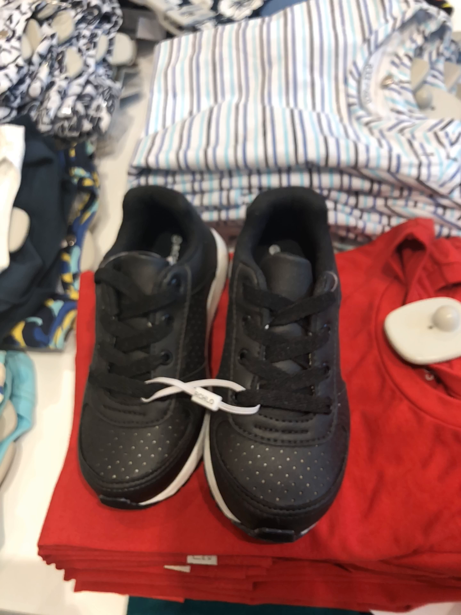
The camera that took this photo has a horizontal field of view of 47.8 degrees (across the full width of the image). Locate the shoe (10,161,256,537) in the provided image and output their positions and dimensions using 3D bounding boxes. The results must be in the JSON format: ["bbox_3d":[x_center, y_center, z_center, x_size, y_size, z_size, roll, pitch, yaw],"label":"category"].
[{"bbox_3d":[-0.037,0.019,0.285,0.080,0.080,0.181,6,63,5],"label":"shoe"}]

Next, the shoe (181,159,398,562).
[{"bbox_3d":[0.025,0.024,0.278,0.080,0.086,0.191,4,59,0],"label":"shoe"}]
